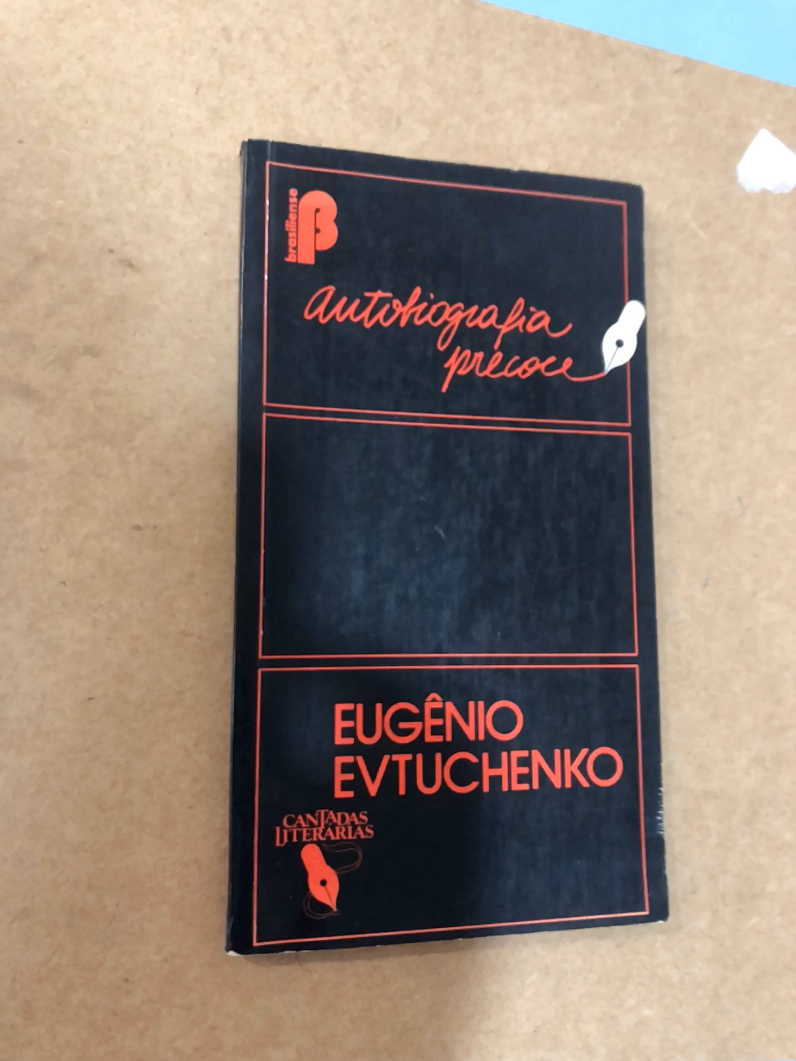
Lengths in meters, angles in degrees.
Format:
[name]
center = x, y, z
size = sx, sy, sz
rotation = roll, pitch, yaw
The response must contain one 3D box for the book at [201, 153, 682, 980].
[book]
center = 0.011, 0.005, 0.224
size = 0.114, 0.016, 0.190
rotation = 1, 83, -12
